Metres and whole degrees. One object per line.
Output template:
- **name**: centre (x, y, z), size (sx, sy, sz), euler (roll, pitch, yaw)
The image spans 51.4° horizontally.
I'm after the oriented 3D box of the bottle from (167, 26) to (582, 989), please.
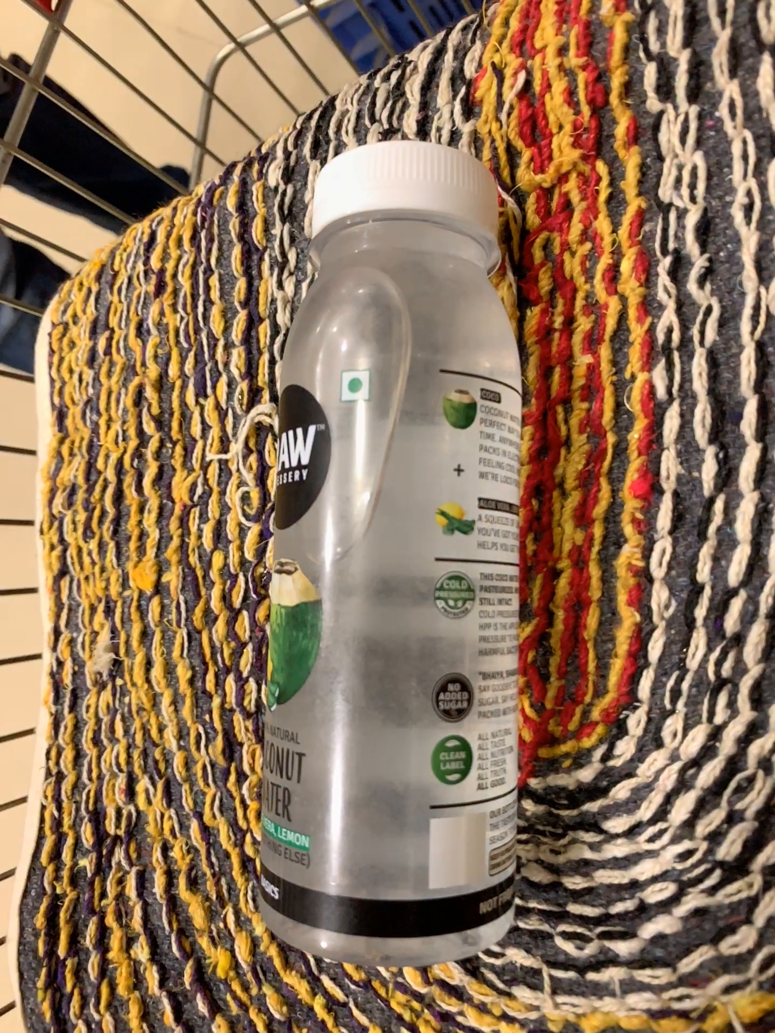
- **bottle**: centre (-0.003, -0.002, 0.163), size (0.060, 0.050, 0.150), euler (-6, 78, 55)
